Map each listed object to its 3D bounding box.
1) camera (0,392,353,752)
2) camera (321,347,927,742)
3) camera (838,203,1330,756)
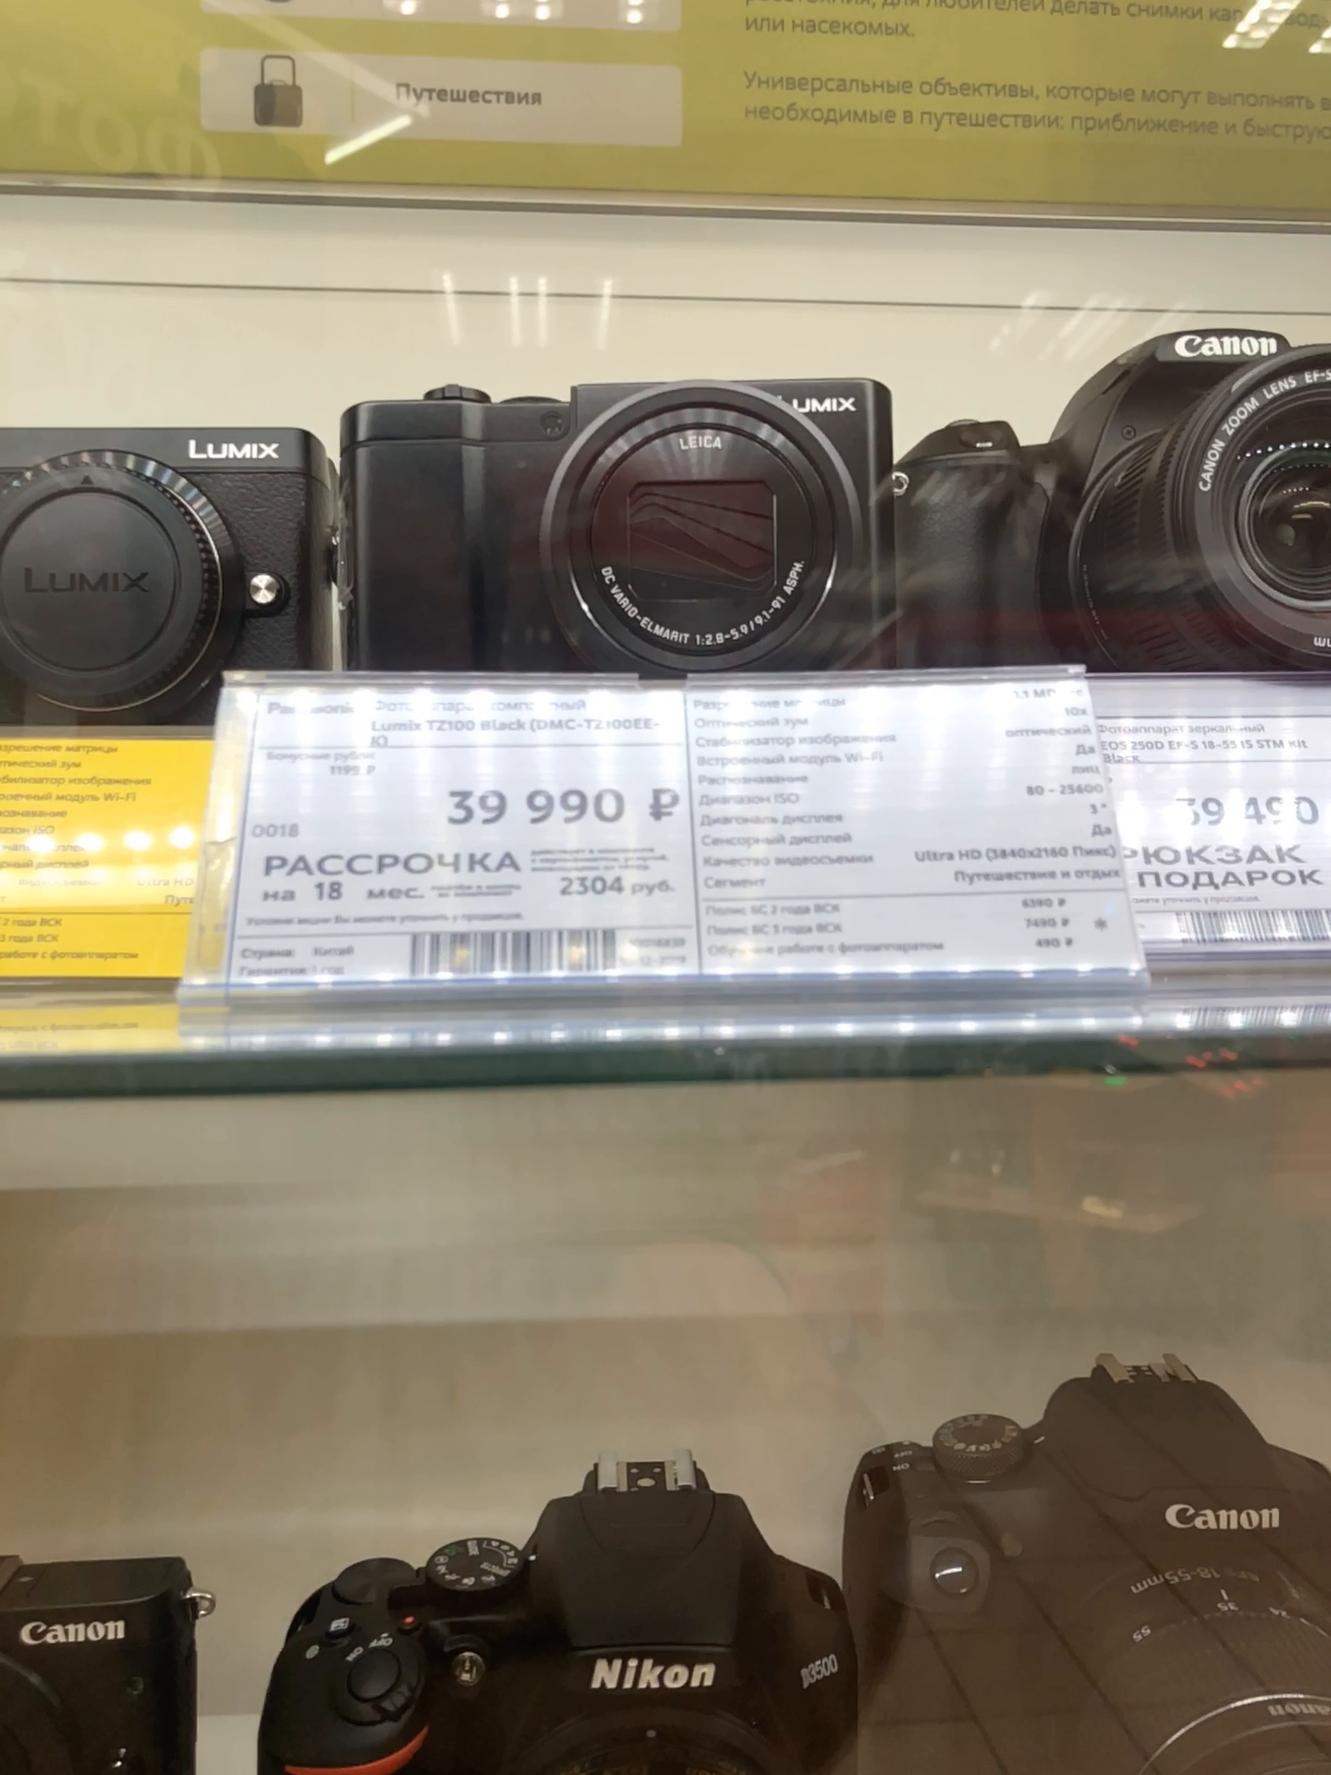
[{"bbox_3d":[-0.130,-0.068,0.332,0.108,0.068,0.055,-1,-1,-2],"label":"camera"},{"bbox_3d":[-0.008,-0.065,0.290,0.111,0.068,0.038,-1,-1,-2],"label":"camera"},{"bbox_3d":[0.136,-0.089,0.378,0.157,0.099,0.163,-1,1,-2],"label":"camera"}]
